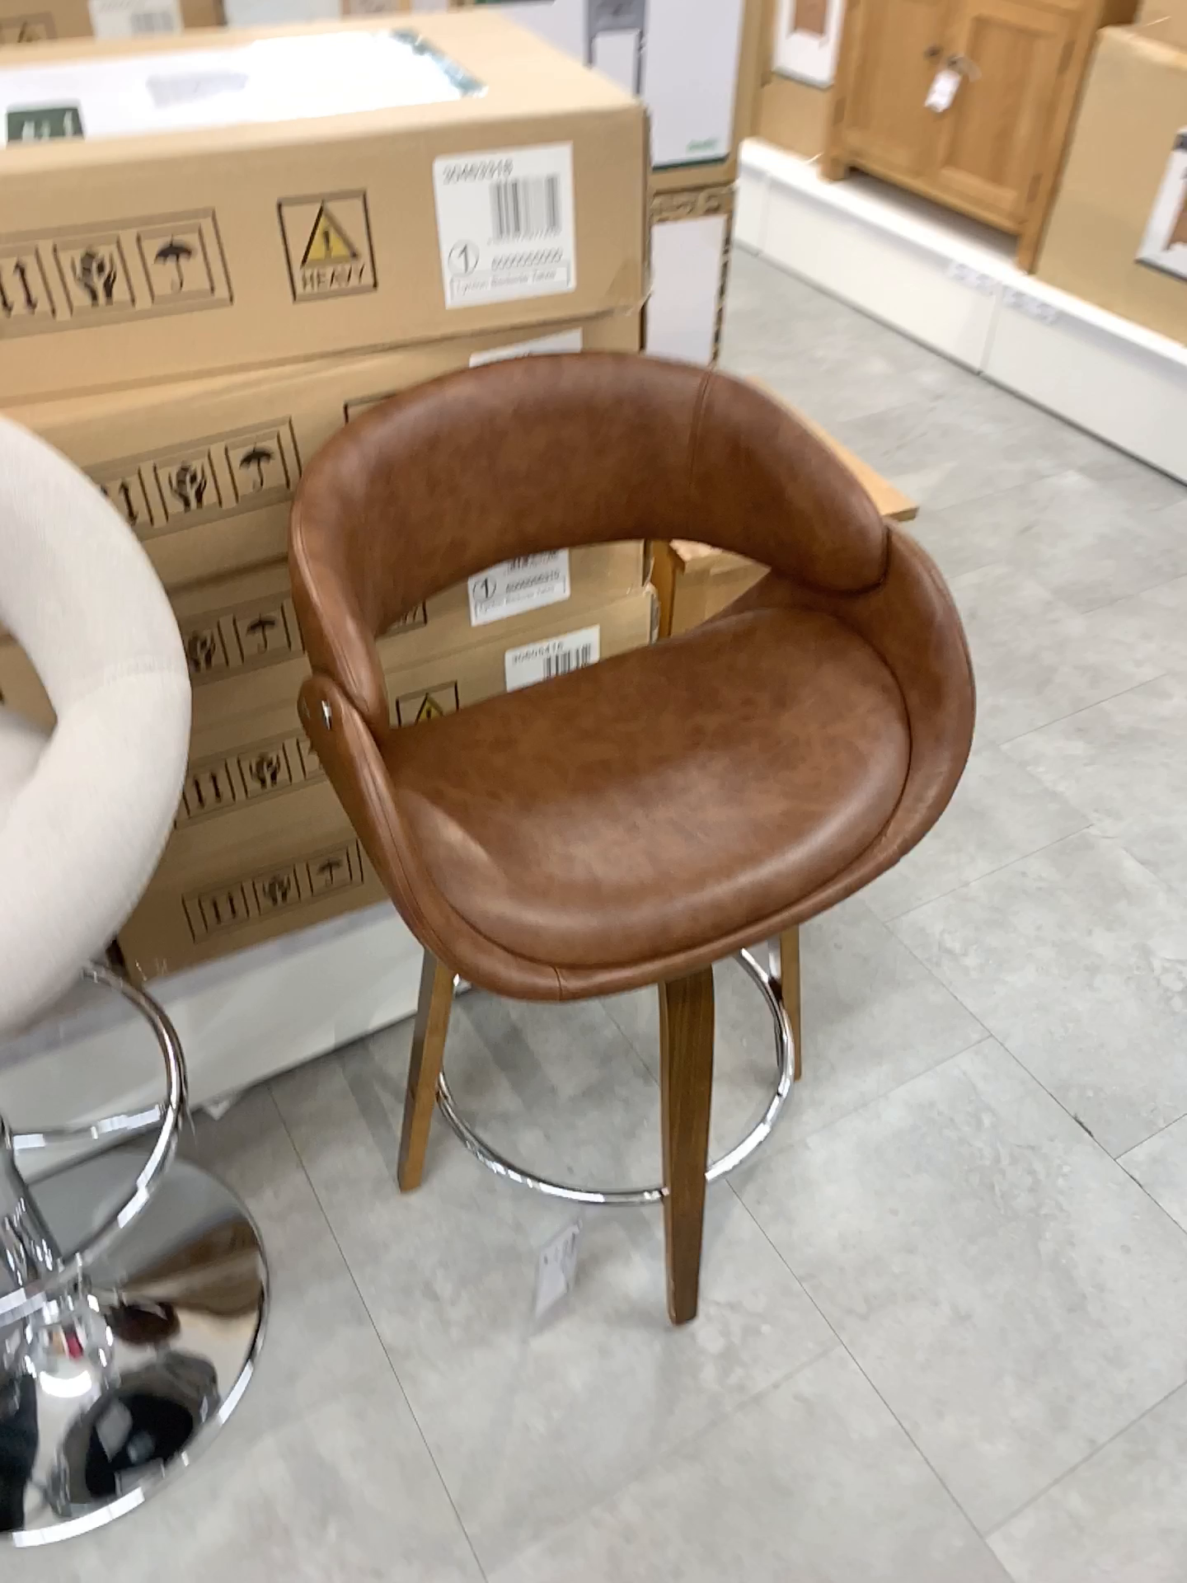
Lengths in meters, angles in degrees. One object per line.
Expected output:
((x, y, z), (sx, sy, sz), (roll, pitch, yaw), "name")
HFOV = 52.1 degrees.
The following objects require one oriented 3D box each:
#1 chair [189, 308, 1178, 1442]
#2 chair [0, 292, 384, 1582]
((0.027, 0.085, 1.208), (0.545, 0.846, 0.554), (-20, 46, -22), "chair")
((-0.548, 0.204, 0.984), (0.495, 0.945, 0.523), (-22, 47, -24), "chair")
